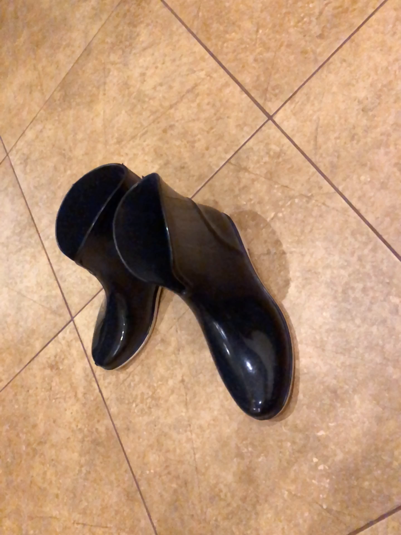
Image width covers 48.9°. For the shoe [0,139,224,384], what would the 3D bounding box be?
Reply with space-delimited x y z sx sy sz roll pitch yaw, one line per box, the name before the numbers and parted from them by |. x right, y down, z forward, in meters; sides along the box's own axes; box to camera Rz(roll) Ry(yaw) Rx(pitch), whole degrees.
shoe | -0.108 0.007 0.515 0.090 0.169 0.240 36 100 35

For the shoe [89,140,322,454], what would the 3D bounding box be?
shoe | 0.005 0.031 0.427 0.090 0.169 0.241 -28 64 27
